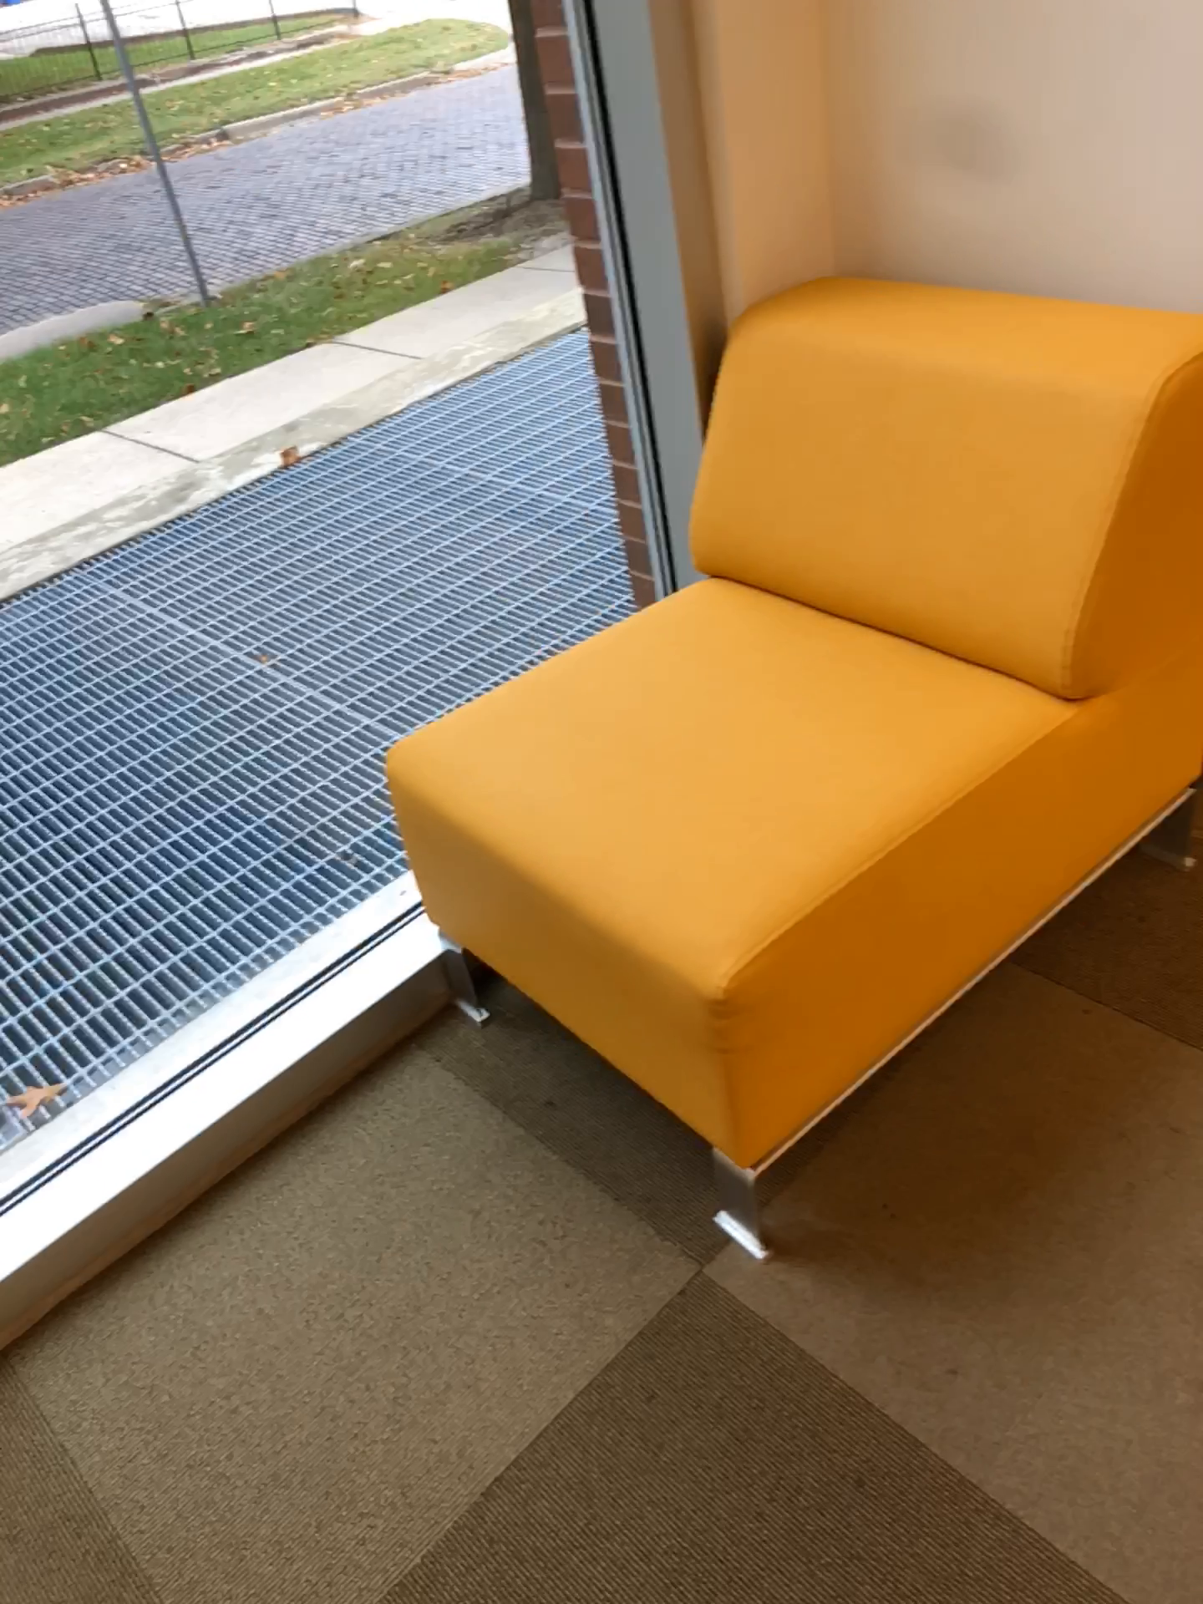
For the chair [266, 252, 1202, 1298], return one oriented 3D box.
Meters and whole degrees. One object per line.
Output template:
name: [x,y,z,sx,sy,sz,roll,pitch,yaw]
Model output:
chair: [0.246,-0.113,1.583,0.872,0.759,0.664,-33,40,-27]
